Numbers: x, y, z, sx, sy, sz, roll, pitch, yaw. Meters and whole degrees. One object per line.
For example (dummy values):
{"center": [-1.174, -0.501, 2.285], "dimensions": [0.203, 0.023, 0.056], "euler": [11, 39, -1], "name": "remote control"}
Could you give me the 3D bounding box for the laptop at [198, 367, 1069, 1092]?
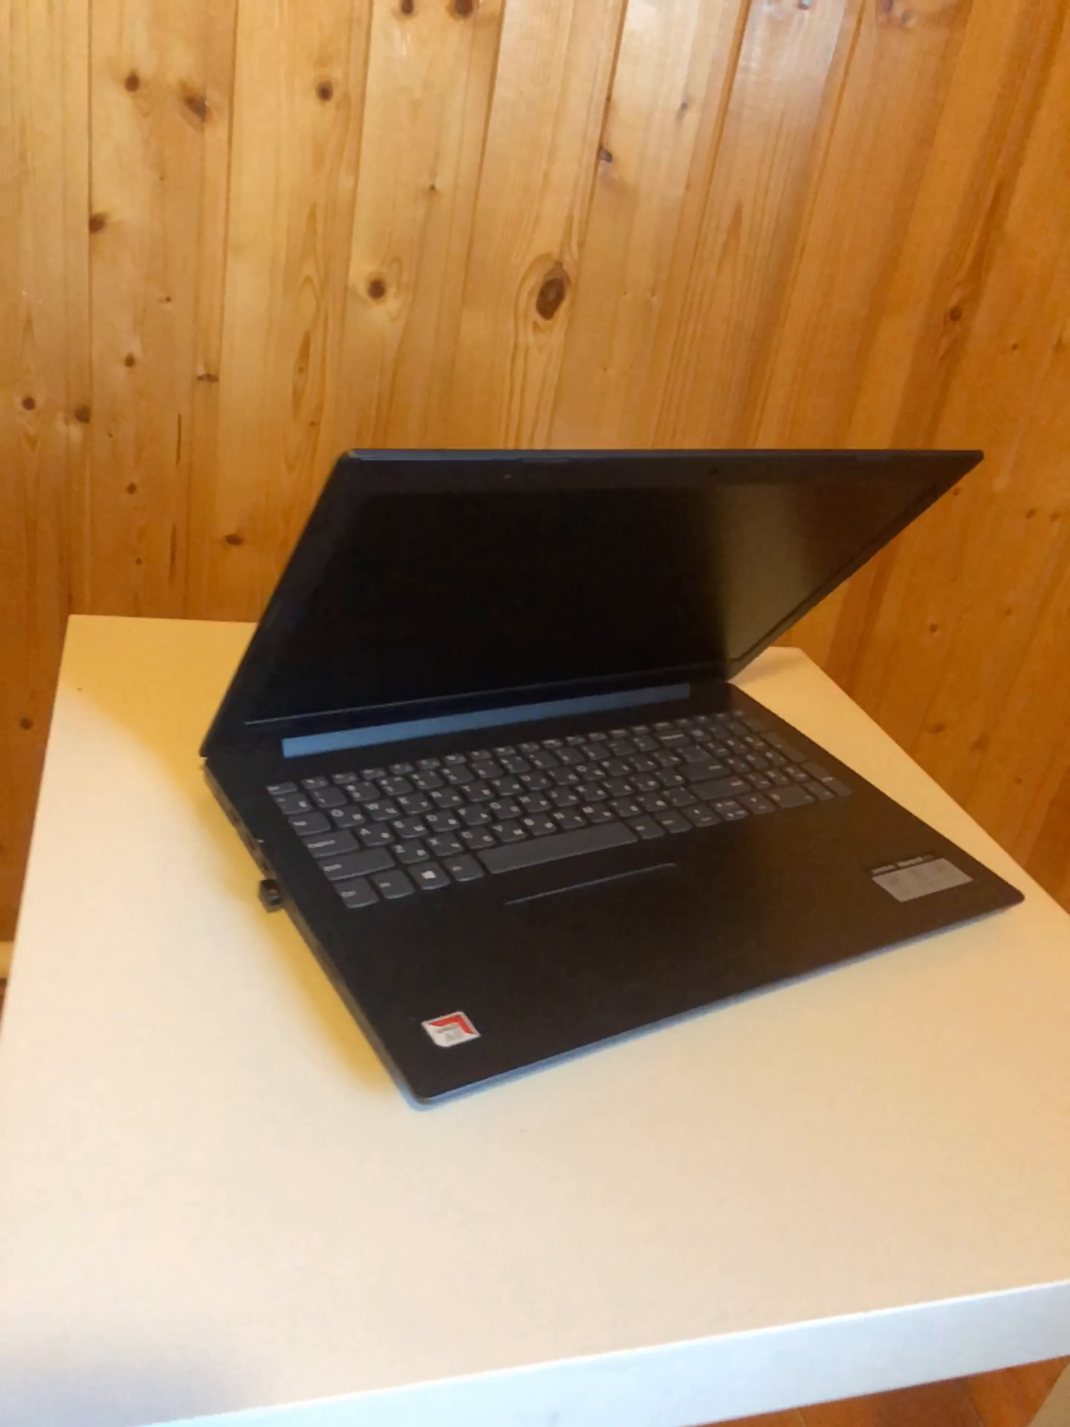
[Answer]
{"center": [0.063, -0.030, 0.582], "dimensions": [0.373, 0.206, 0.250], "euler": [-8, 32, -32], "name": "laptop"}
